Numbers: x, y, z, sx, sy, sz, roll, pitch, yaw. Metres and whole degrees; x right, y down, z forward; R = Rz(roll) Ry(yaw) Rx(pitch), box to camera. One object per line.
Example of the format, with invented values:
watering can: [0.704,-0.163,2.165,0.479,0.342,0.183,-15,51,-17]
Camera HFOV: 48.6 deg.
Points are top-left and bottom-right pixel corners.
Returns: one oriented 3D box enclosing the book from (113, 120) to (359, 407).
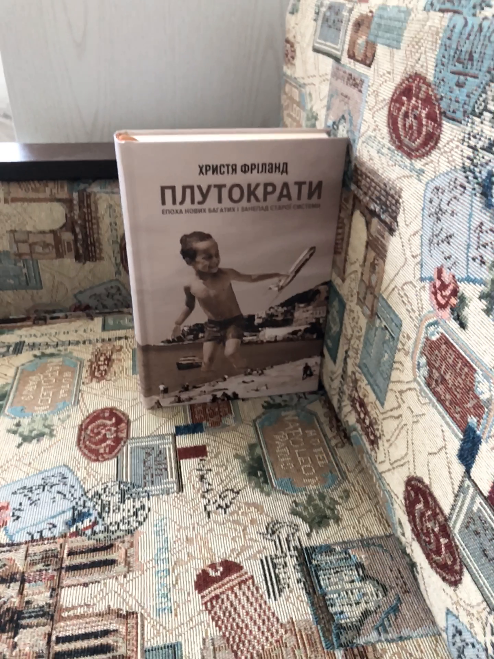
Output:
book: [-0.011,-0.043,0.417,0.157,0.215,0.037,-4,33,-10]
